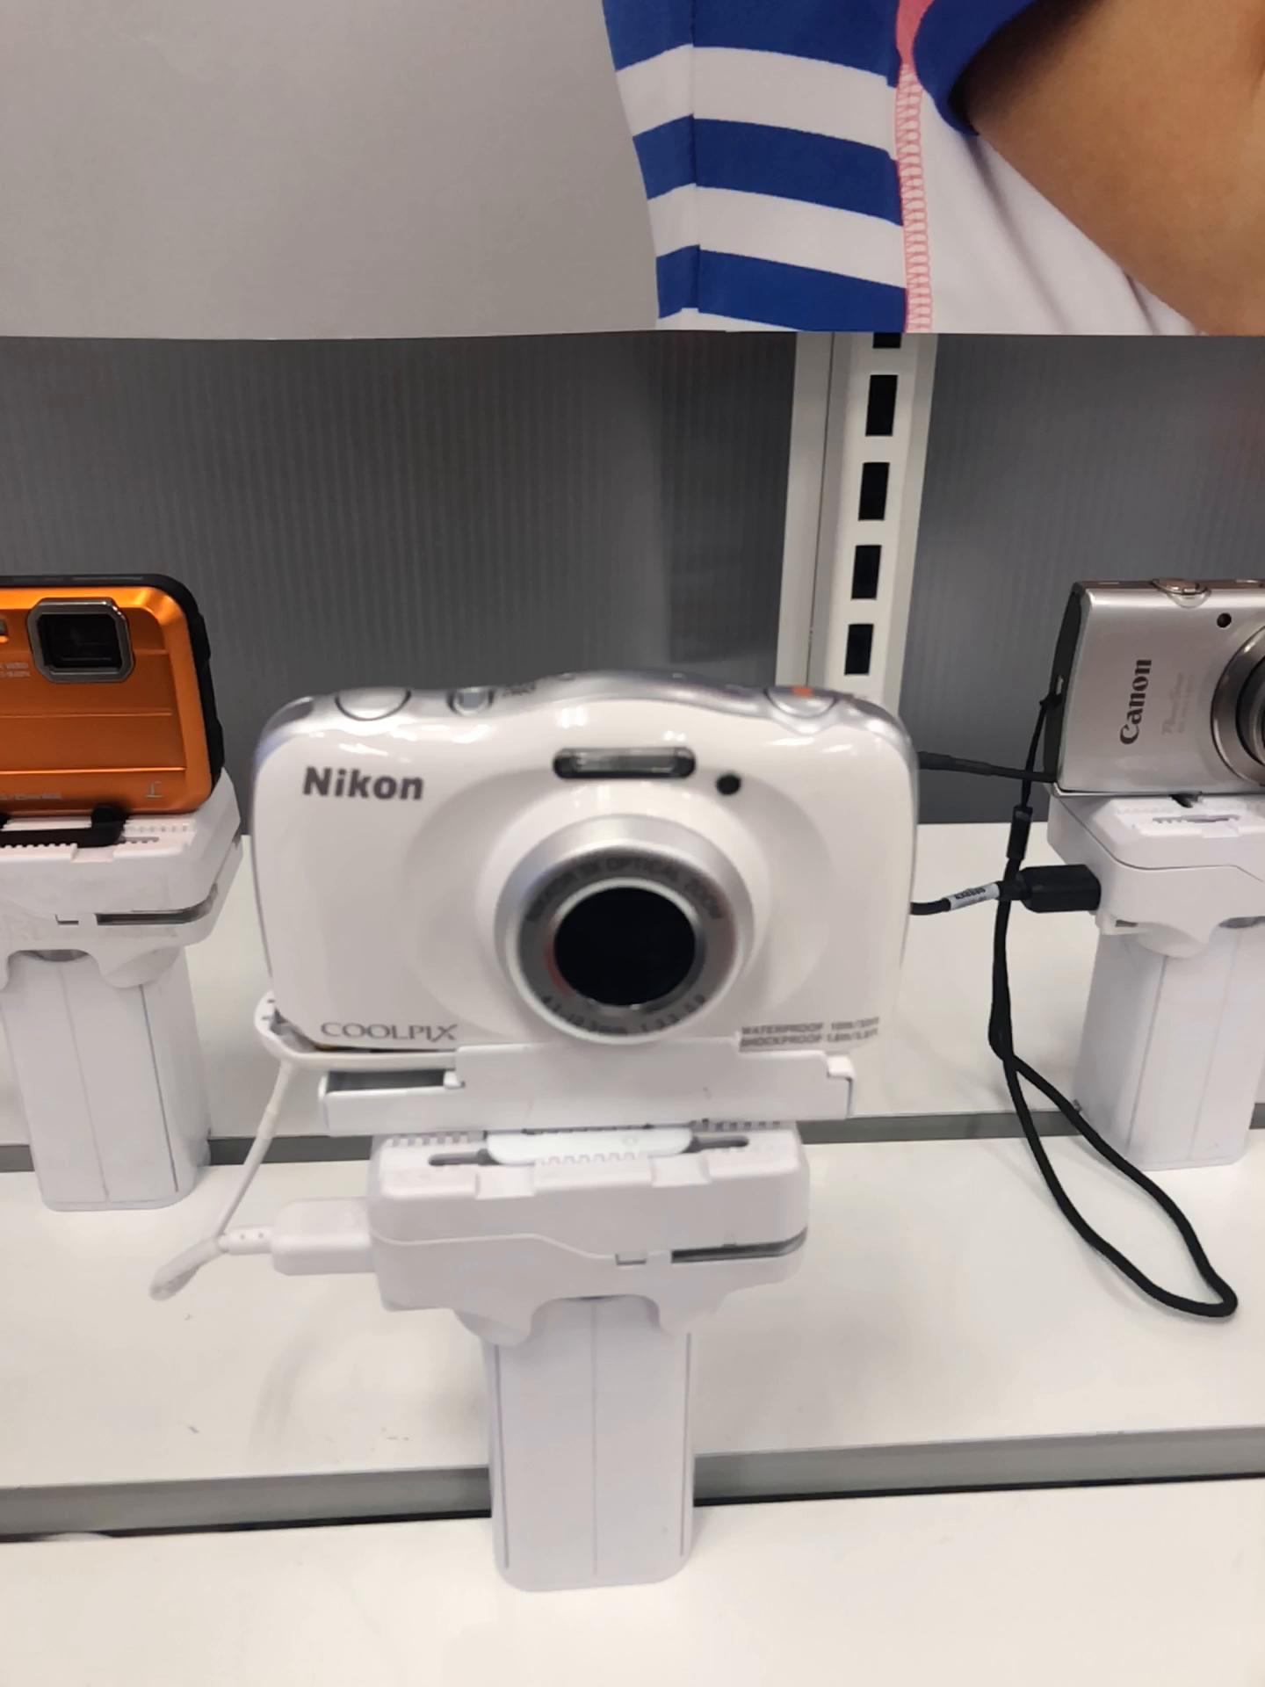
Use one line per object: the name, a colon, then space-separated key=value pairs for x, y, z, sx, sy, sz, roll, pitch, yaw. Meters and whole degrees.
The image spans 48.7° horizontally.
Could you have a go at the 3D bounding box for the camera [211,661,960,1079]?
camera: x=-0.007 y=0.004 z=0.223 sx=0.105 sy=0.056 sz=0.032 roll=-1 pitch=27 yaw=-4
